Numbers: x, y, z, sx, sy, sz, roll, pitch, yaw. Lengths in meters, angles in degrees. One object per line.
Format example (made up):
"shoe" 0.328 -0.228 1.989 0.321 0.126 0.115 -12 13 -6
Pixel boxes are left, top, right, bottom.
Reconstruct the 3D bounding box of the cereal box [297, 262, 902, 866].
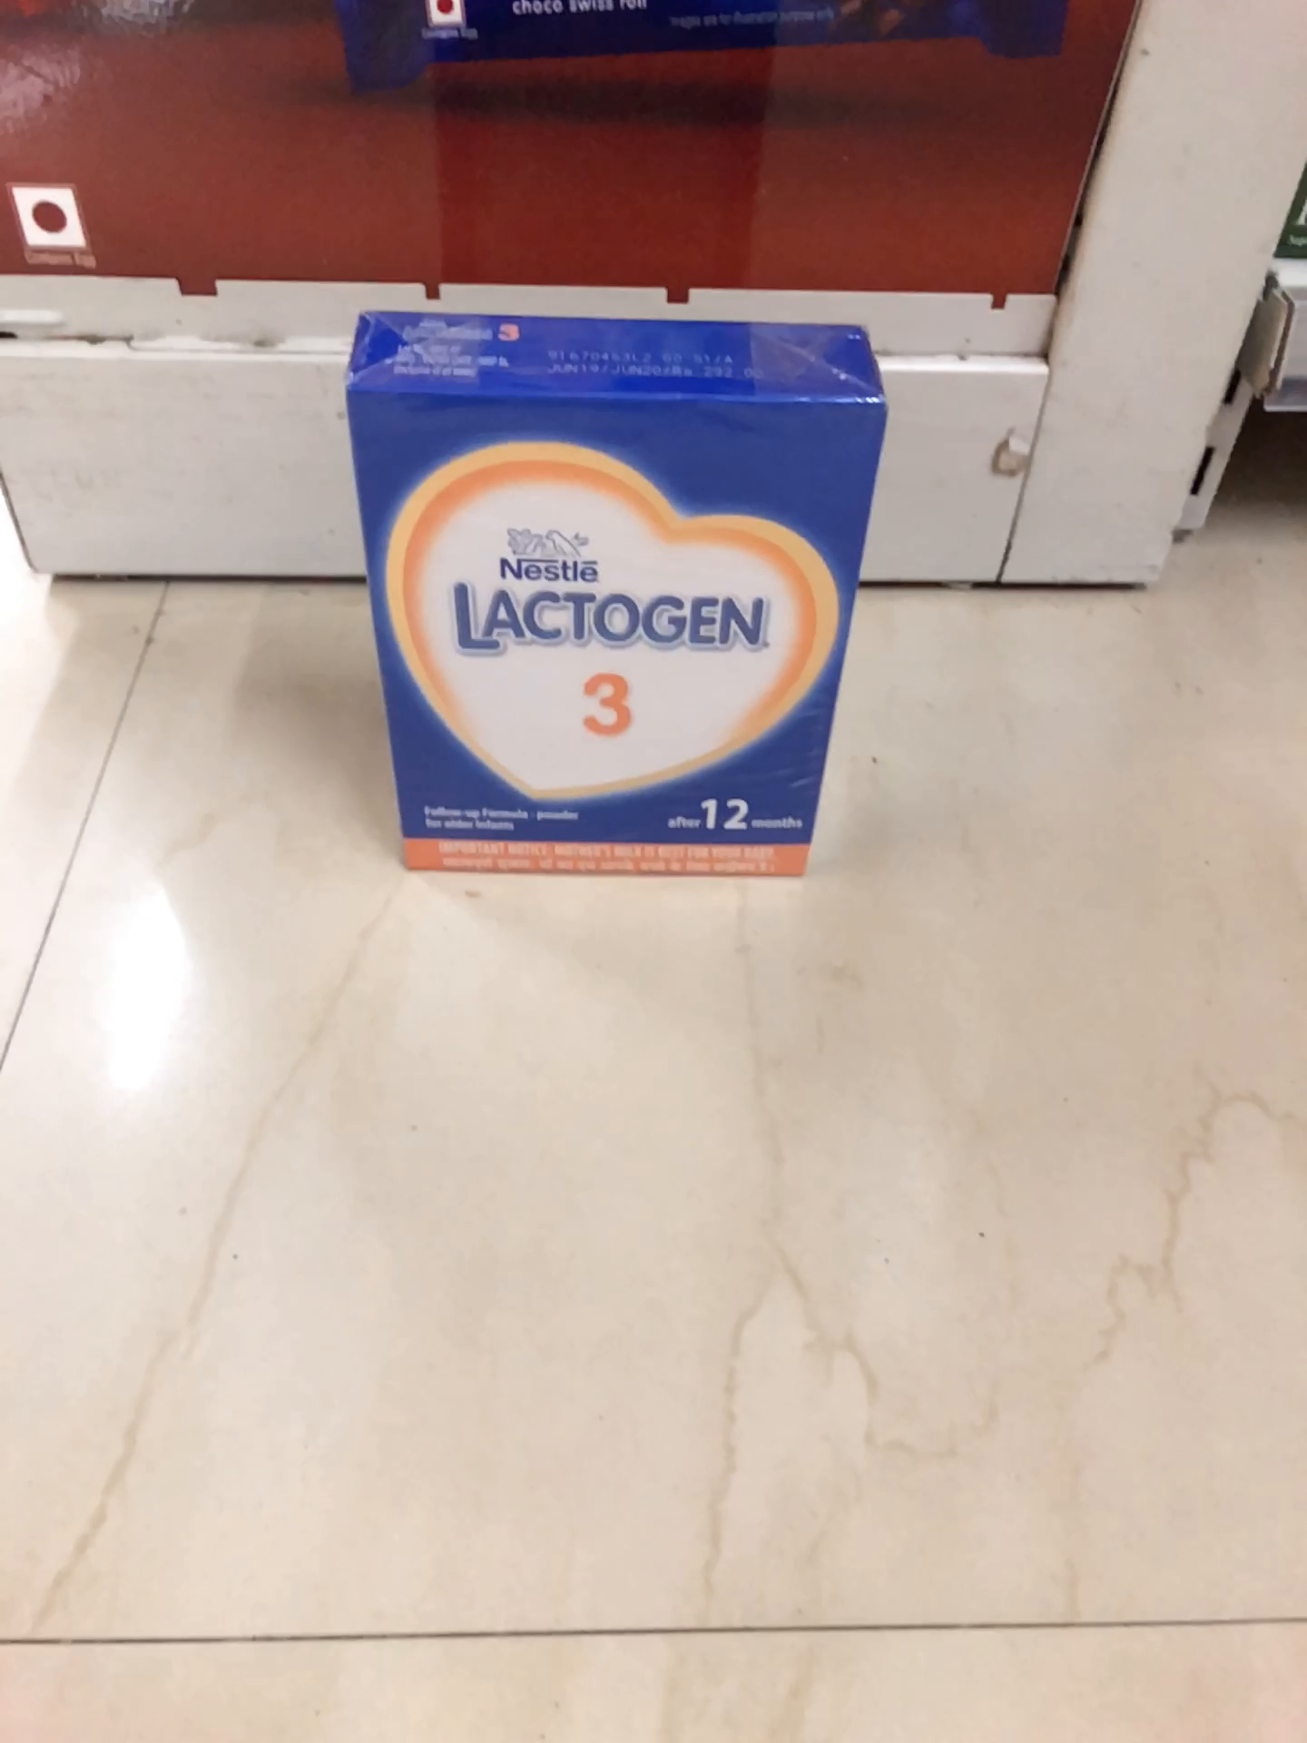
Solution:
"cereal box" -0.017 -0.090 0.472 0.160 0.189 0.060 1 47 -2
